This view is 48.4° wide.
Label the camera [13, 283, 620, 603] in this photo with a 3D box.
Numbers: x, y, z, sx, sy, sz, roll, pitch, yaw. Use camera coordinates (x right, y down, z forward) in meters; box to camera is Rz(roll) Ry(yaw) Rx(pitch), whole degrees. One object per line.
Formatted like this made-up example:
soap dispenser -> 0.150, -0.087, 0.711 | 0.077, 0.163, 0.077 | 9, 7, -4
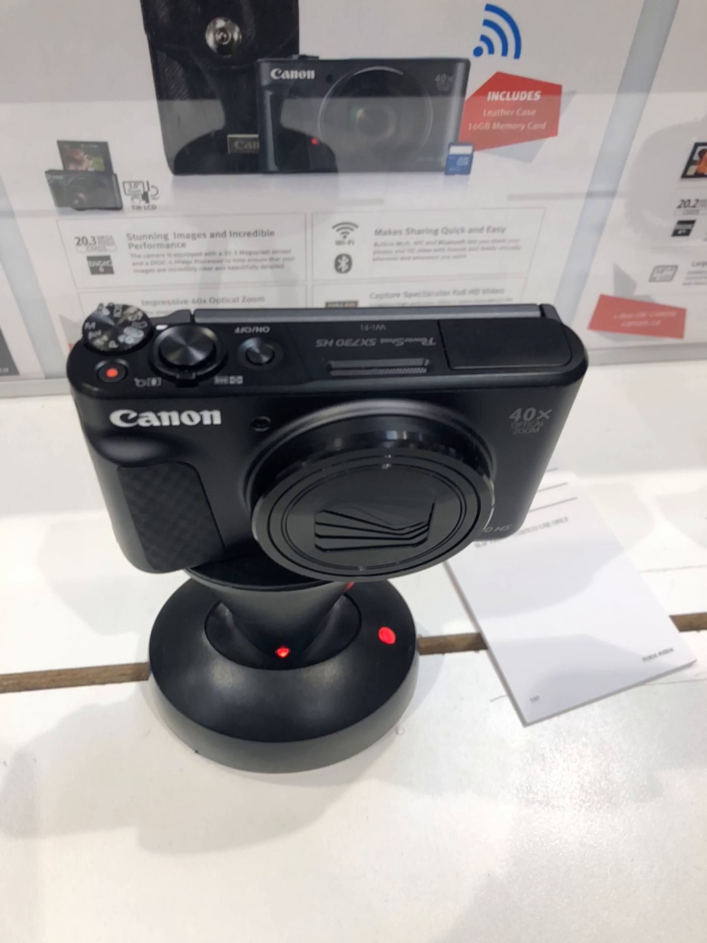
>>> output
camera -> -0.009, -0.005, 0.195 | 0.120, 0.070, 0.040 | -2, 53, -6
